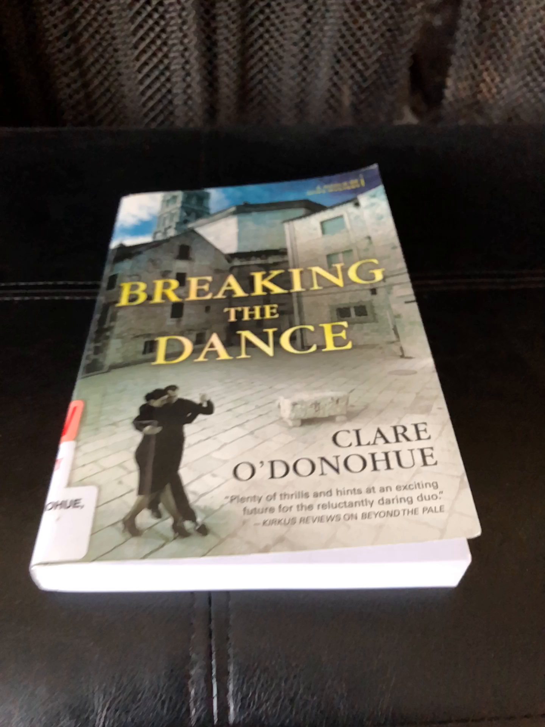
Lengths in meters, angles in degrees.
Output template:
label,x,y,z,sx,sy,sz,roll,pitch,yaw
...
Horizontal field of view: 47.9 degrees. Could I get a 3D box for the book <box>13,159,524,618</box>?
label,x,y,z,sx,sy,sz,roll,pitch,yaw
book,-0.003,-0.011,0.254,0.140,0.040,0.210,0,48,-2
